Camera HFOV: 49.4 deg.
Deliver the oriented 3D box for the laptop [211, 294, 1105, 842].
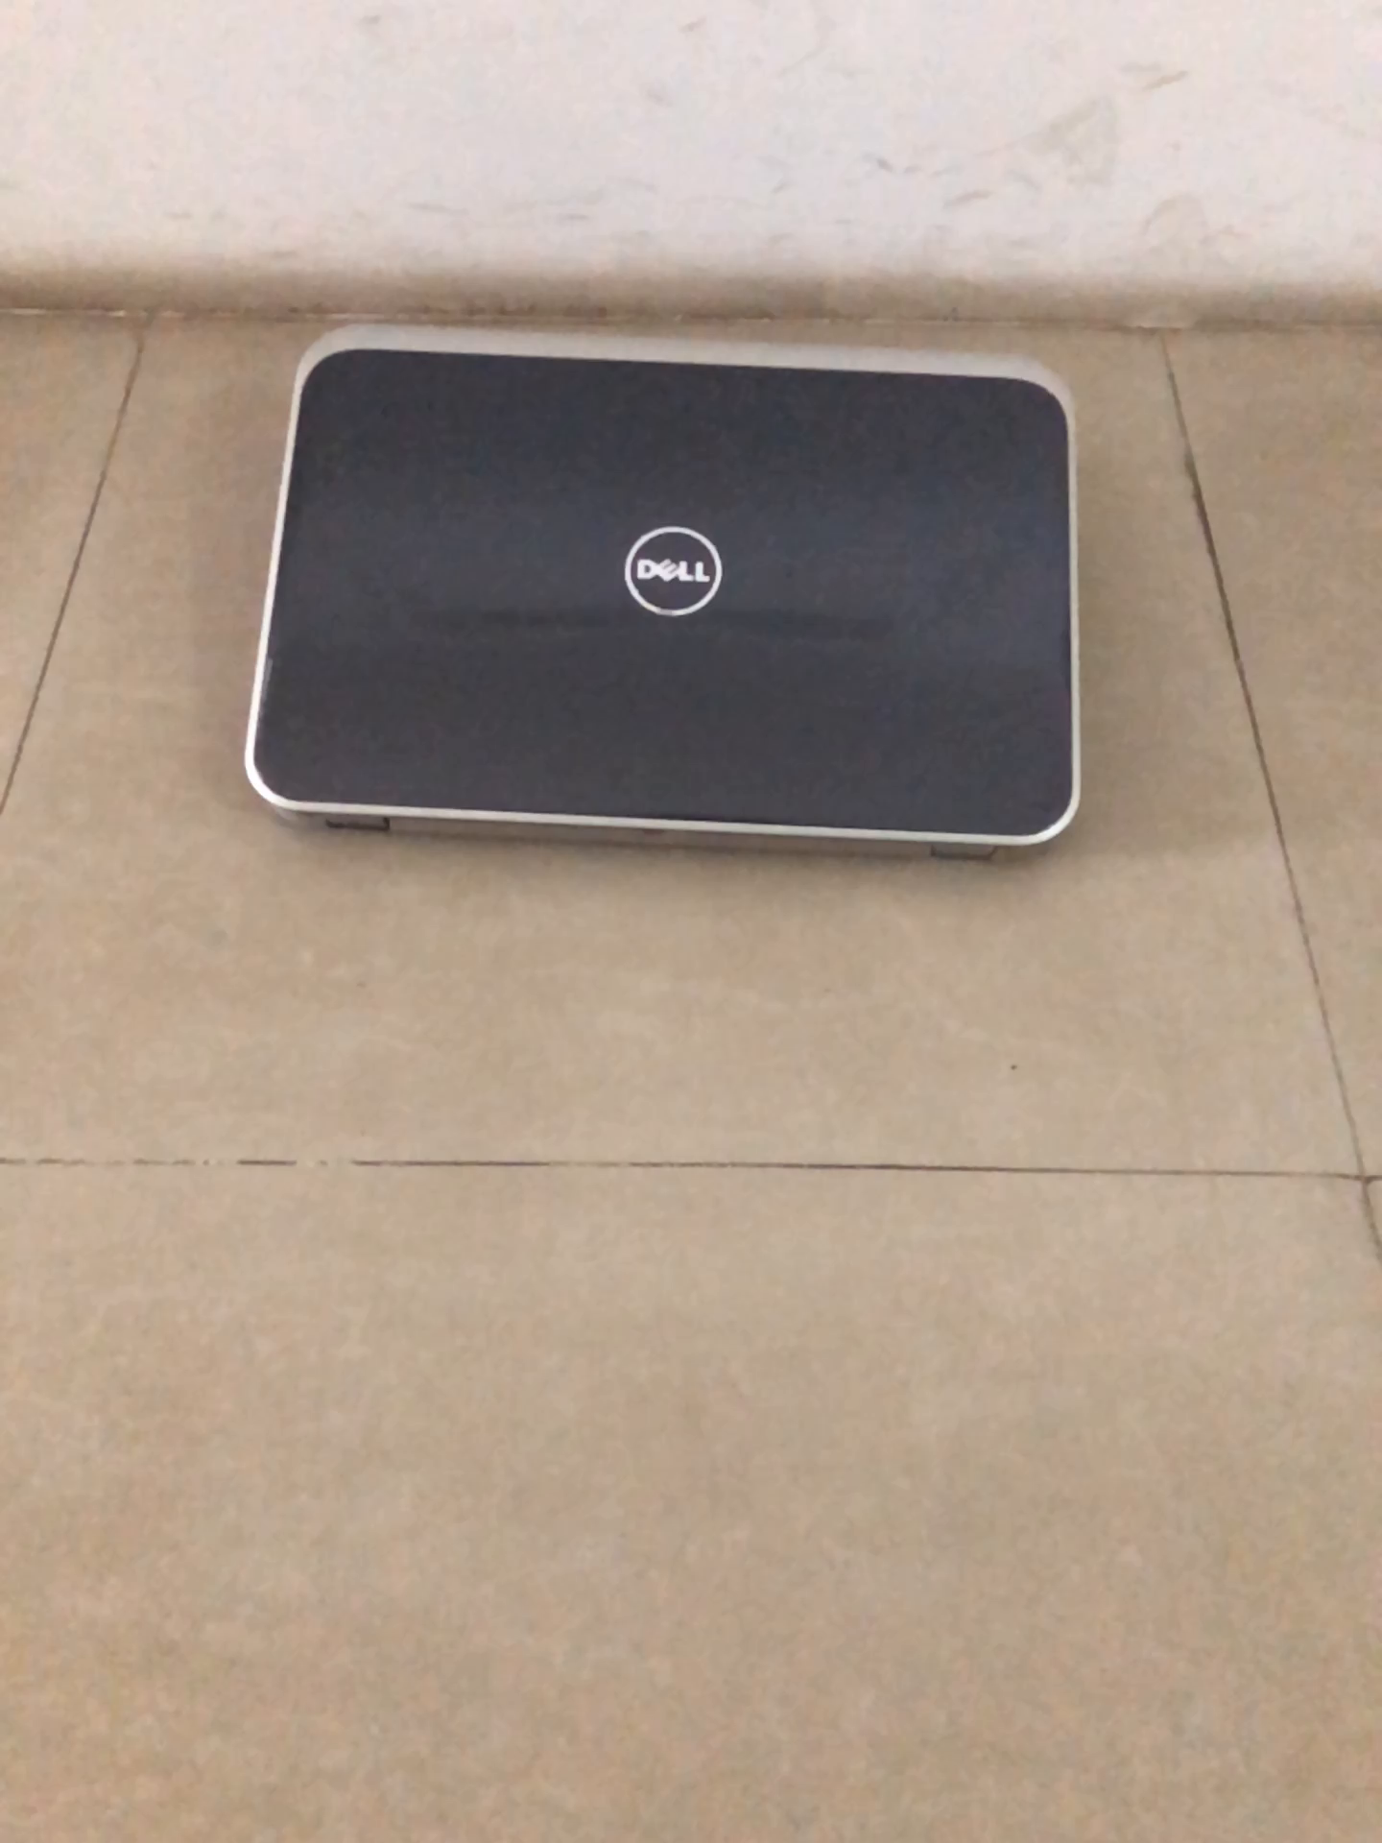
[{"bbox_3d":[-0.006,-0.168,0.697,0.360,0.079,0.235,3,60,-1],"label":"laptop"}]
